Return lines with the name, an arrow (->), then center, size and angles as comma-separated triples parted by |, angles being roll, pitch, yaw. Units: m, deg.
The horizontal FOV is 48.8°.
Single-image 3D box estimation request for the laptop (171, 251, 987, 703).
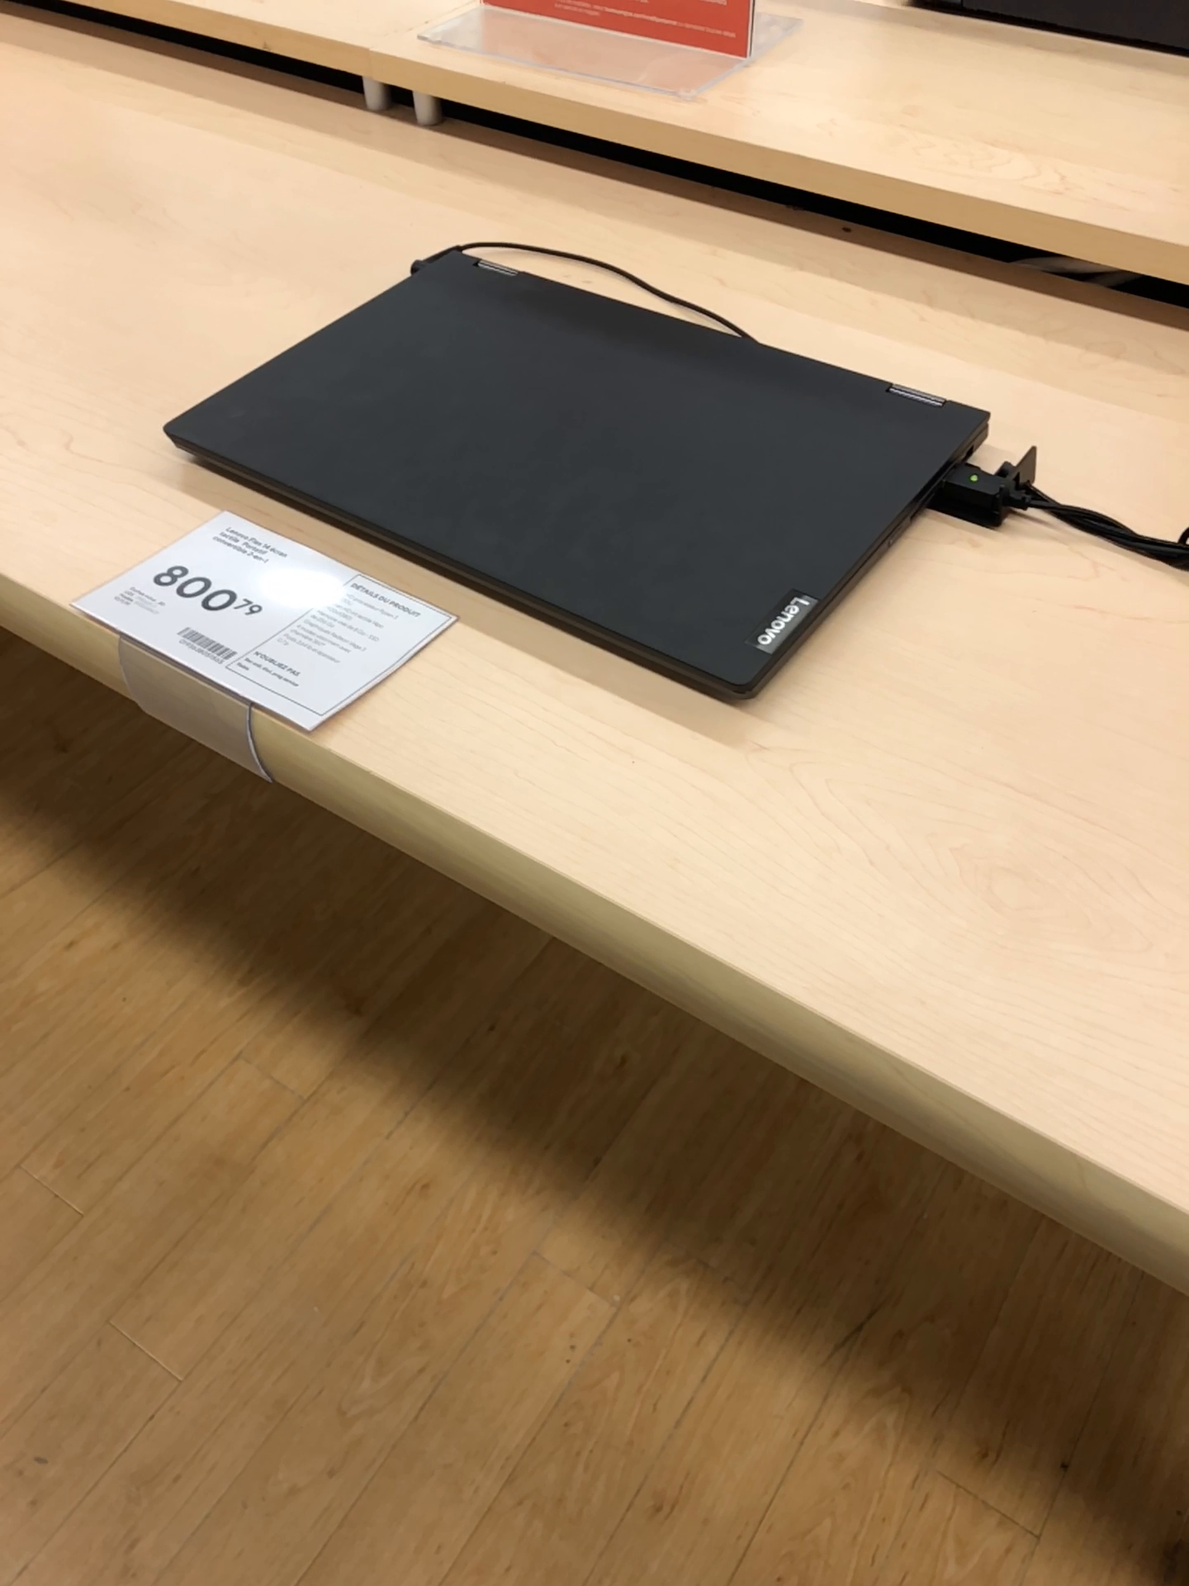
laptop -> -0.010, -0.172, 0.633 | 0.326, 0.009, 0.212 | 27, 56, 23
